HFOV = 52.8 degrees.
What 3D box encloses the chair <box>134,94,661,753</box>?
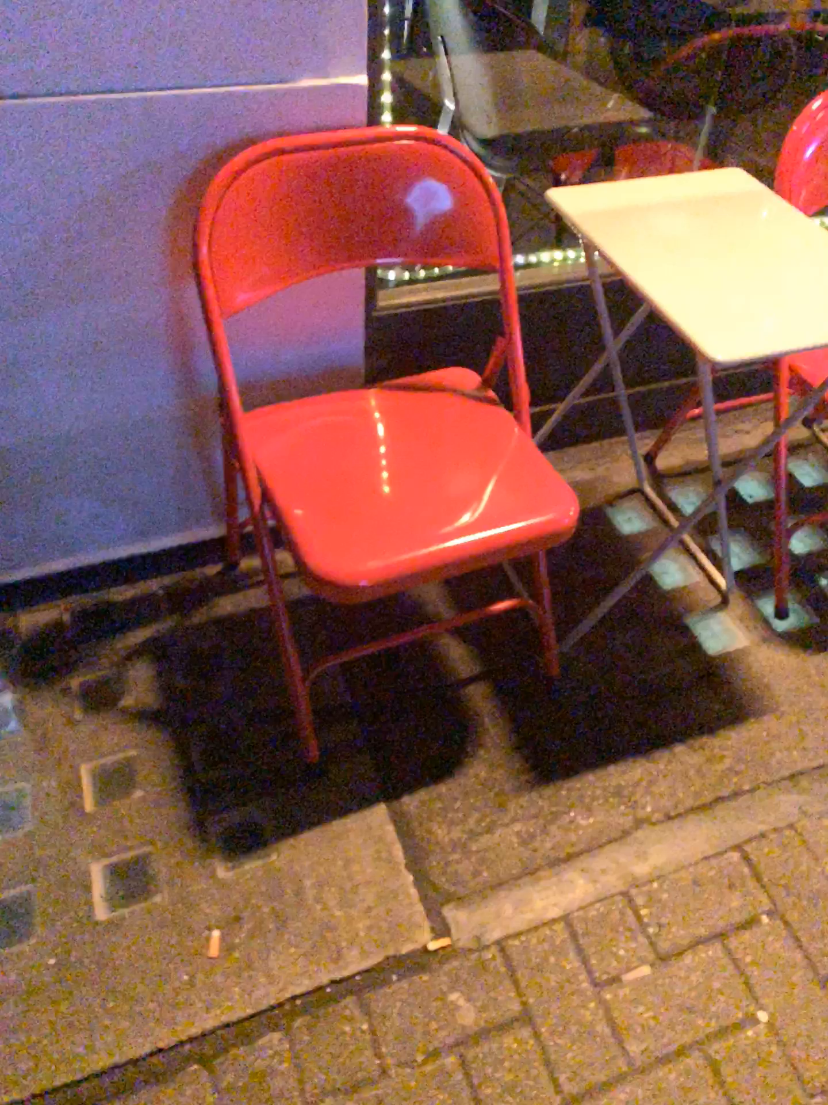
[{"bbox_3d":[-0.071,-0.189,1.267,0.471,0.743,0.534,-15,48,-18],"label":"chair"}]
